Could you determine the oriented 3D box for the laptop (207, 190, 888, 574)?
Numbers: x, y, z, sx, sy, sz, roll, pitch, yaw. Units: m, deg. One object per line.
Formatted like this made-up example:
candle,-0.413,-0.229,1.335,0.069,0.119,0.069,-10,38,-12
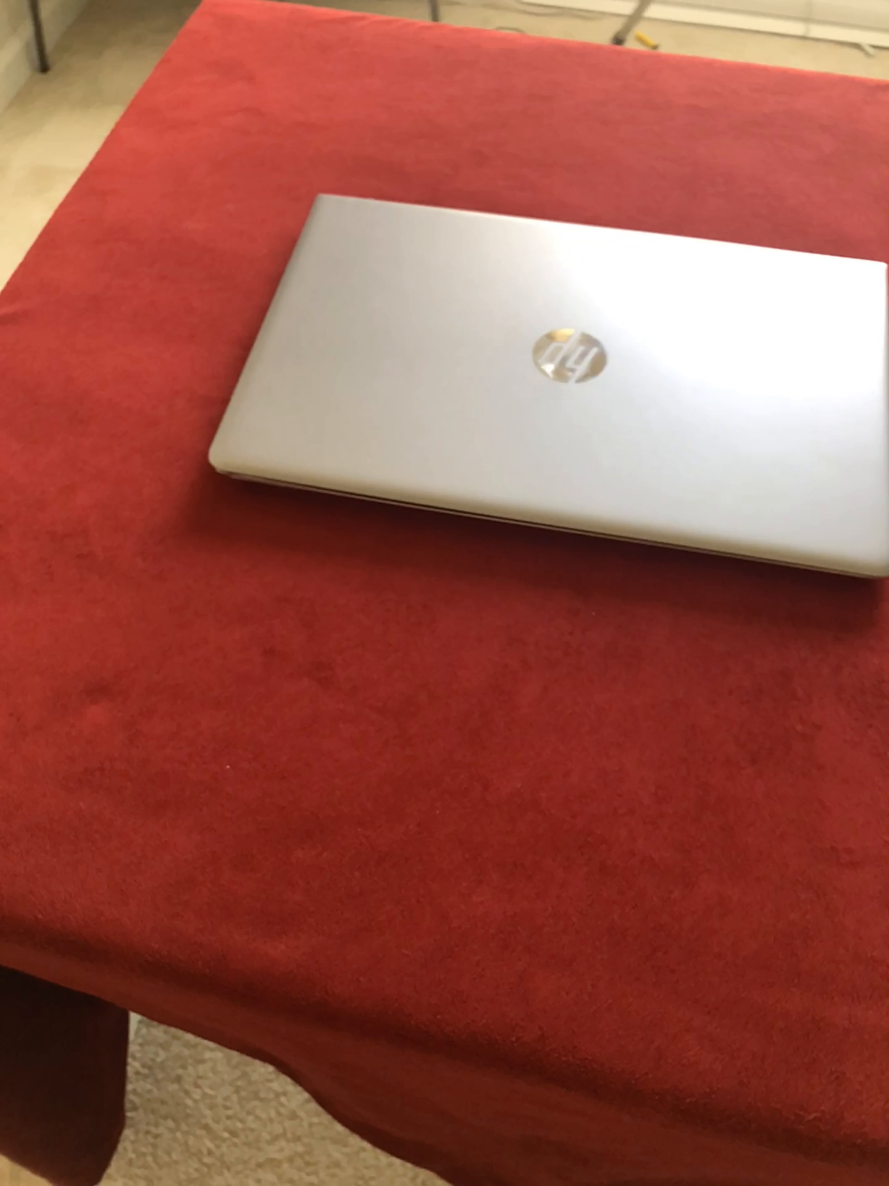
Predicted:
laptop,0.074,-0.140,0.592,0.372,0.006,0.234,10,60,6
